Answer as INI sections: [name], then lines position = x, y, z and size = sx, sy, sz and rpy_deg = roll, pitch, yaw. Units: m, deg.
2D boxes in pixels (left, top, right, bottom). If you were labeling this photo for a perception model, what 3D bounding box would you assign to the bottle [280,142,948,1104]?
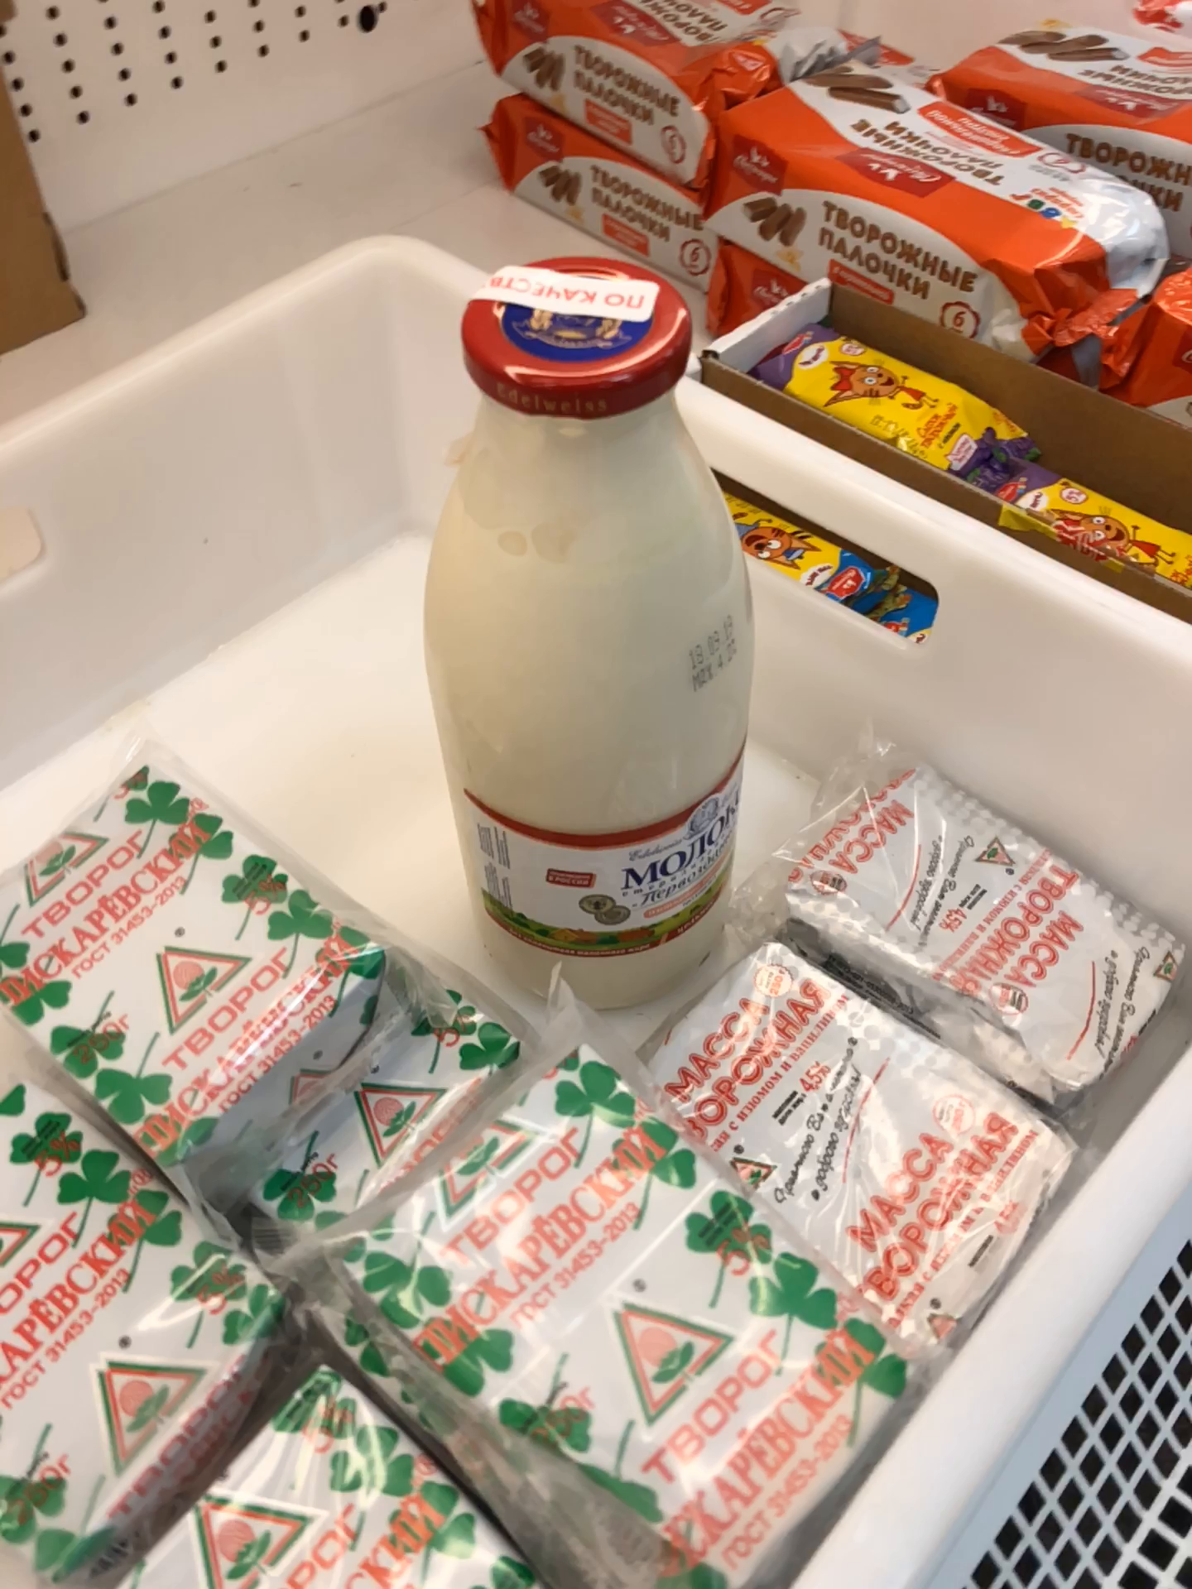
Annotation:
[bottle]
position = 0.004, -0.029, 0.330
size = 0.090, 0.209, 0.090
rpy_deg = 0, 50, 0
